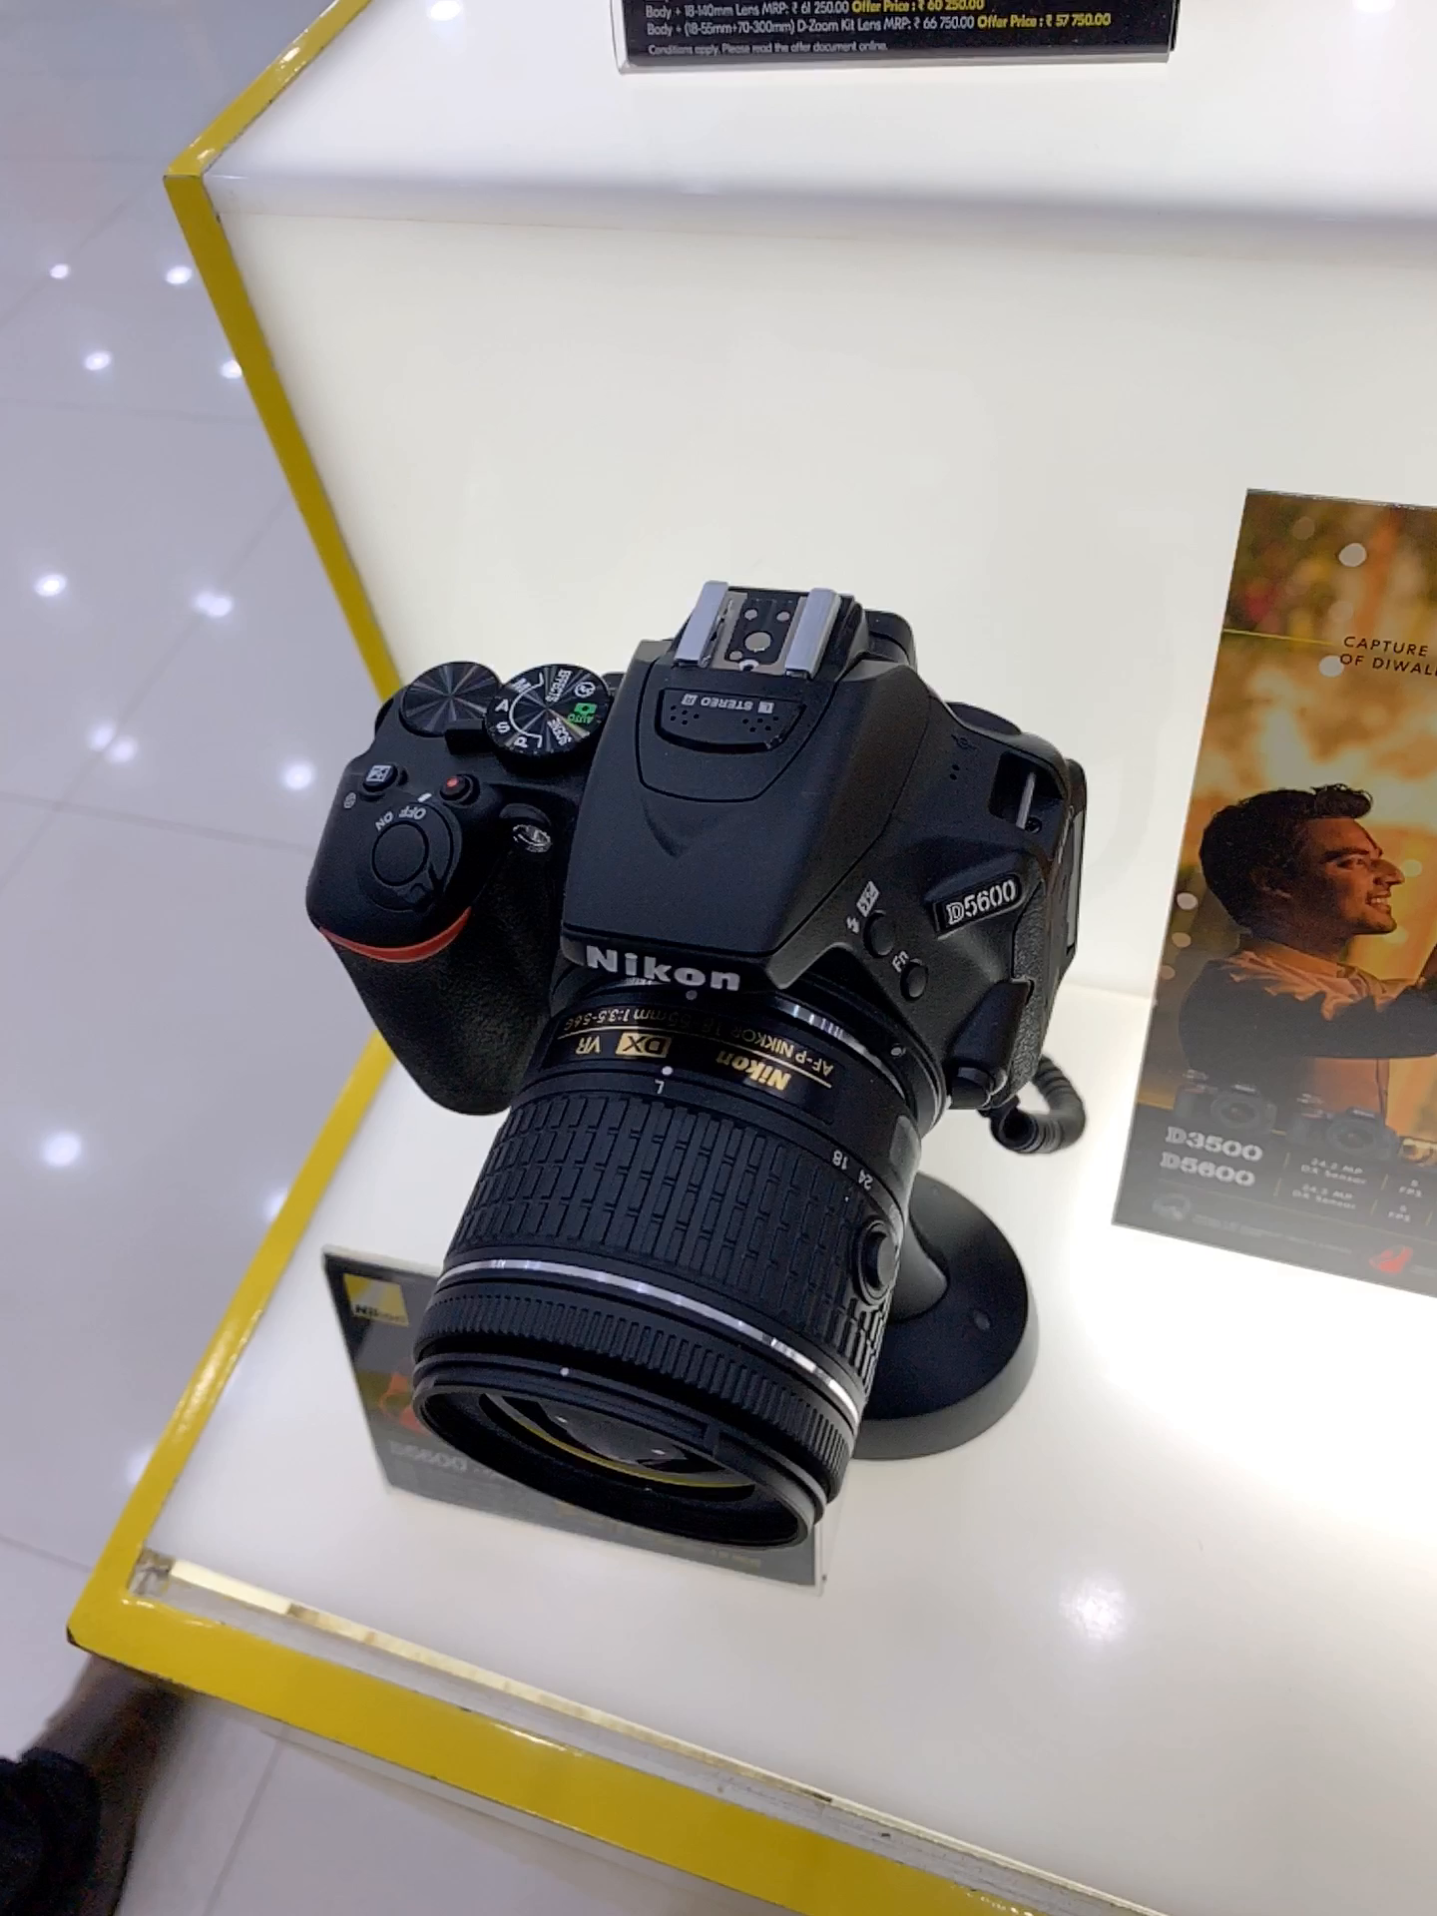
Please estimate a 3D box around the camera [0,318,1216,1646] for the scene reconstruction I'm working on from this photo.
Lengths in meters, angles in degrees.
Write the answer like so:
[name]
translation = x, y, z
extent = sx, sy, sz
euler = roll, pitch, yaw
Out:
[camera]
translation = -0.001, -0.007, 0.222
extent = 0.120, 0.090, 0.160
euler = 8, 55, 15
